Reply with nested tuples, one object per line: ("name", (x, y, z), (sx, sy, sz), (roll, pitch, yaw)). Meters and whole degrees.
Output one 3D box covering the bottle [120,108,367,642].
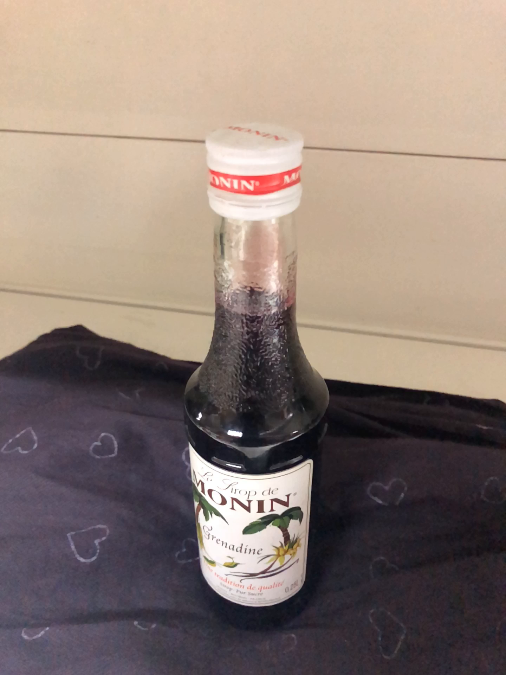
("bottle", (0.000, 0.023, 0.220), (0.060, 0.199, 0.060), (0, 30, 0))
